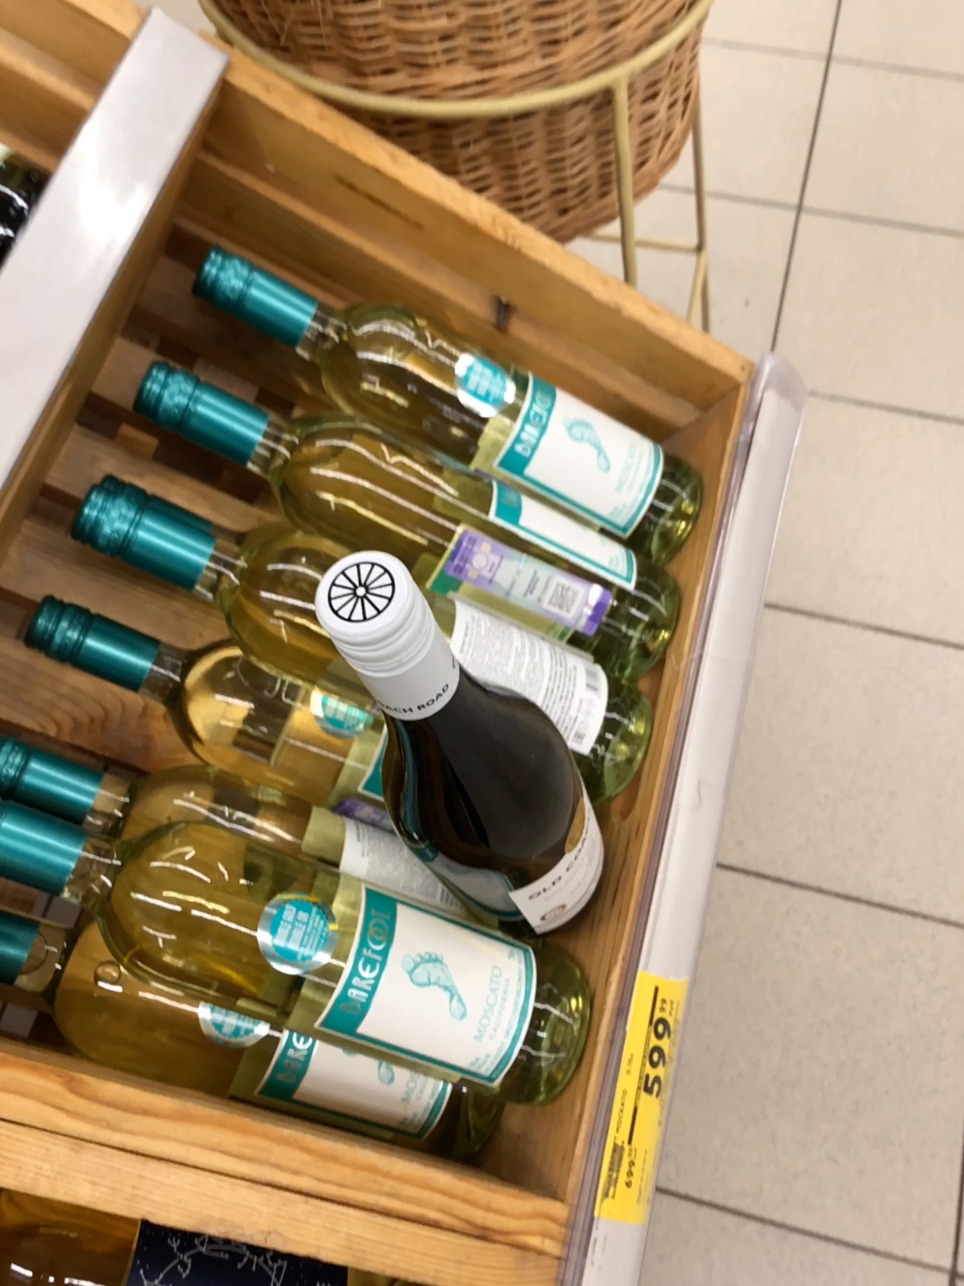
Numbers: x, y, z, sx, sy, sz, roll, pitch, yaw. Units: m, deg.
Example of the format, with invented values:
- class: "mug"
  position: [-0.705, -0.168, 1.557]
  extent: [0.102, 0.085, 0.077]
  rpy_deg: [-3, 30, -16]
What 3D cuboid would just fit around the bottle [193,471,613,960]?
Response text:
- class: "bottle"
  position: [-0.006, 0.053, 0.430]
  extent: [0.088, 0.291, 0.078]
  rpy_deg: [10, 66, 15]
